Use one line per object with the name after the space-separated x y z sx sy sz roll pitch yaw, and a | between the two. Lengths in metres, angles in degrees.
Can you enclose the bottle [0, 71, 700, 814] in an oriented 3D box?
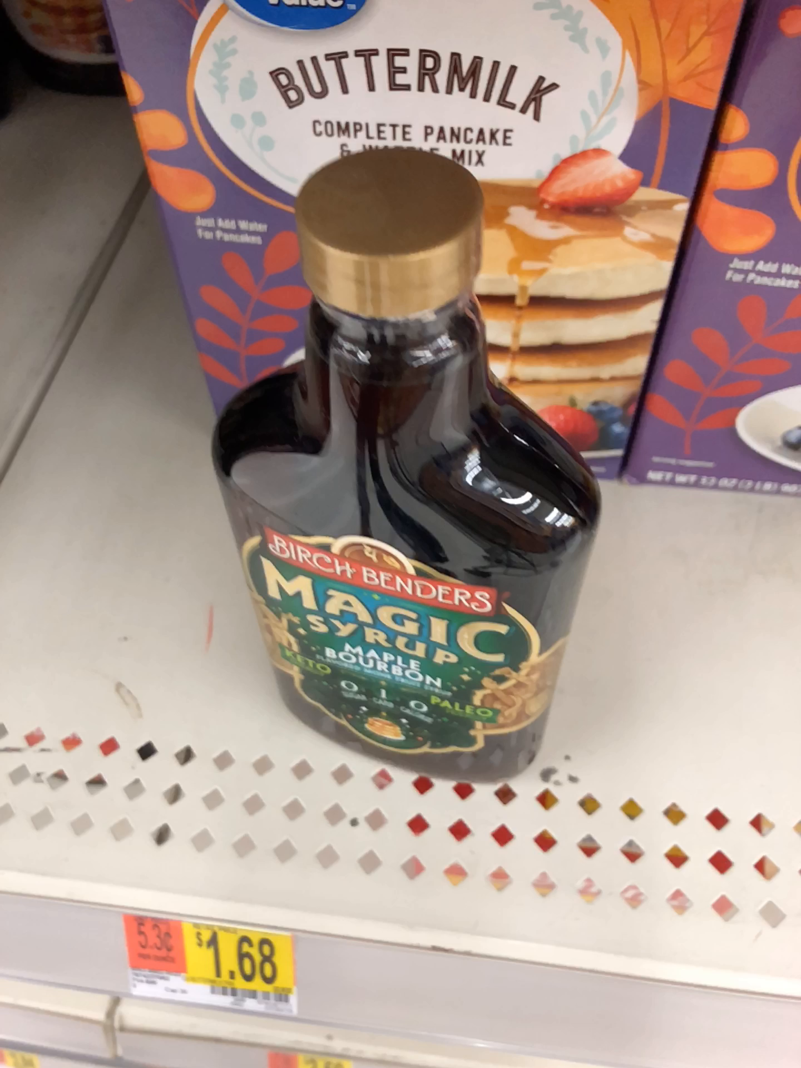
-0.004 -0.001 0.215 0.100 0.180 0.050 14 56 12 | bottle
